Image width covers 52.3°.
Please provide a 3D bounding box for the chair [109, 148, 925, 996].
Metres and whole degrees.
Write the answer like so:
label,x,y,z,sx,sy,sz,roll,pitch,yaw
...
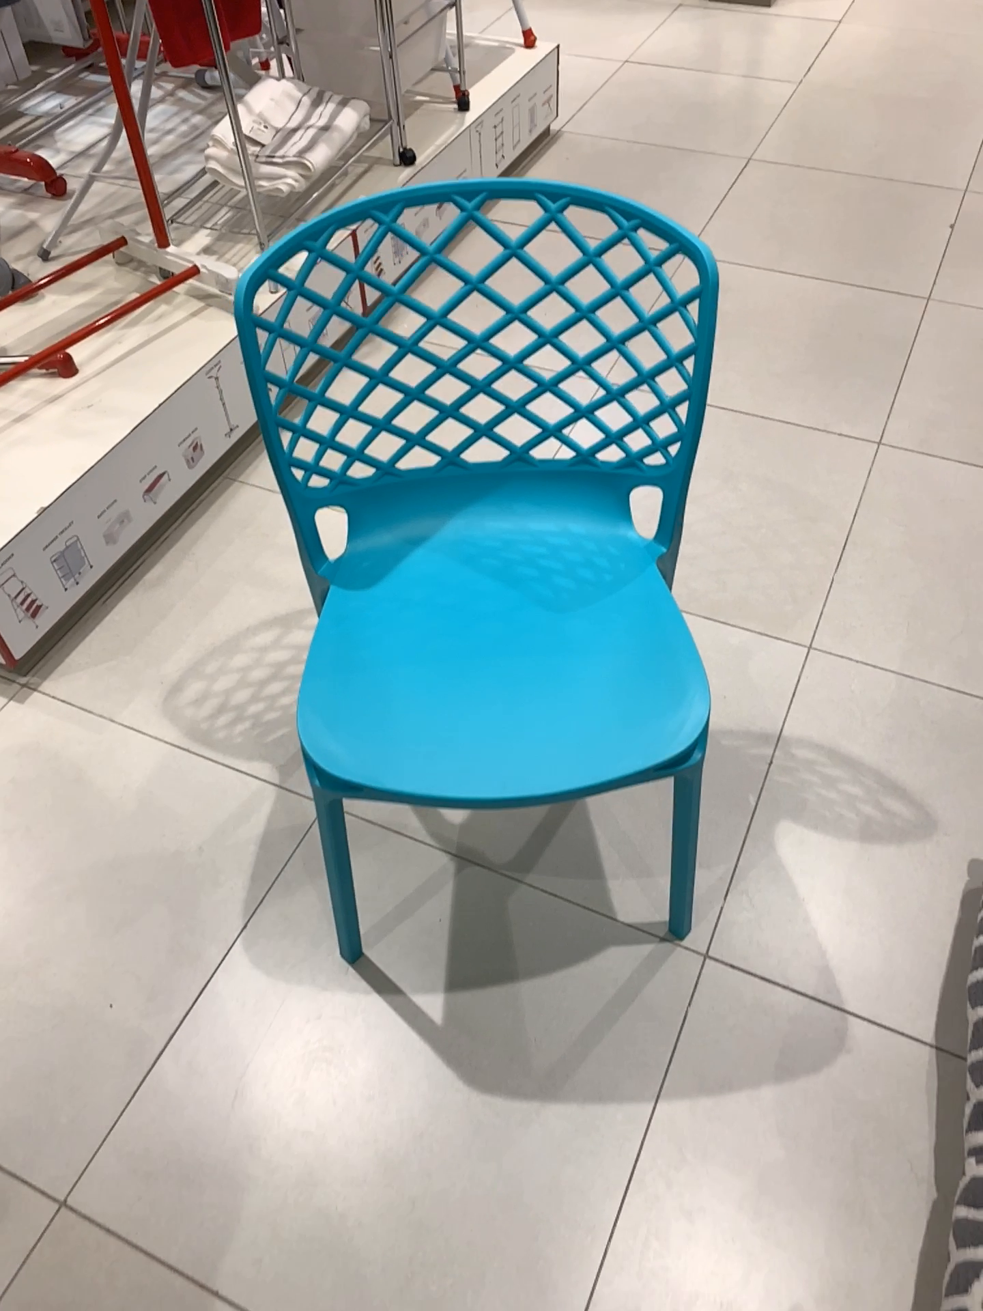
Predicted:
label,x,y,z,sx,sy,sz,roll,pitch,yaw
chair,0.020,-0.044,1.156,0.560,0.798,0.522,-4,48,0
